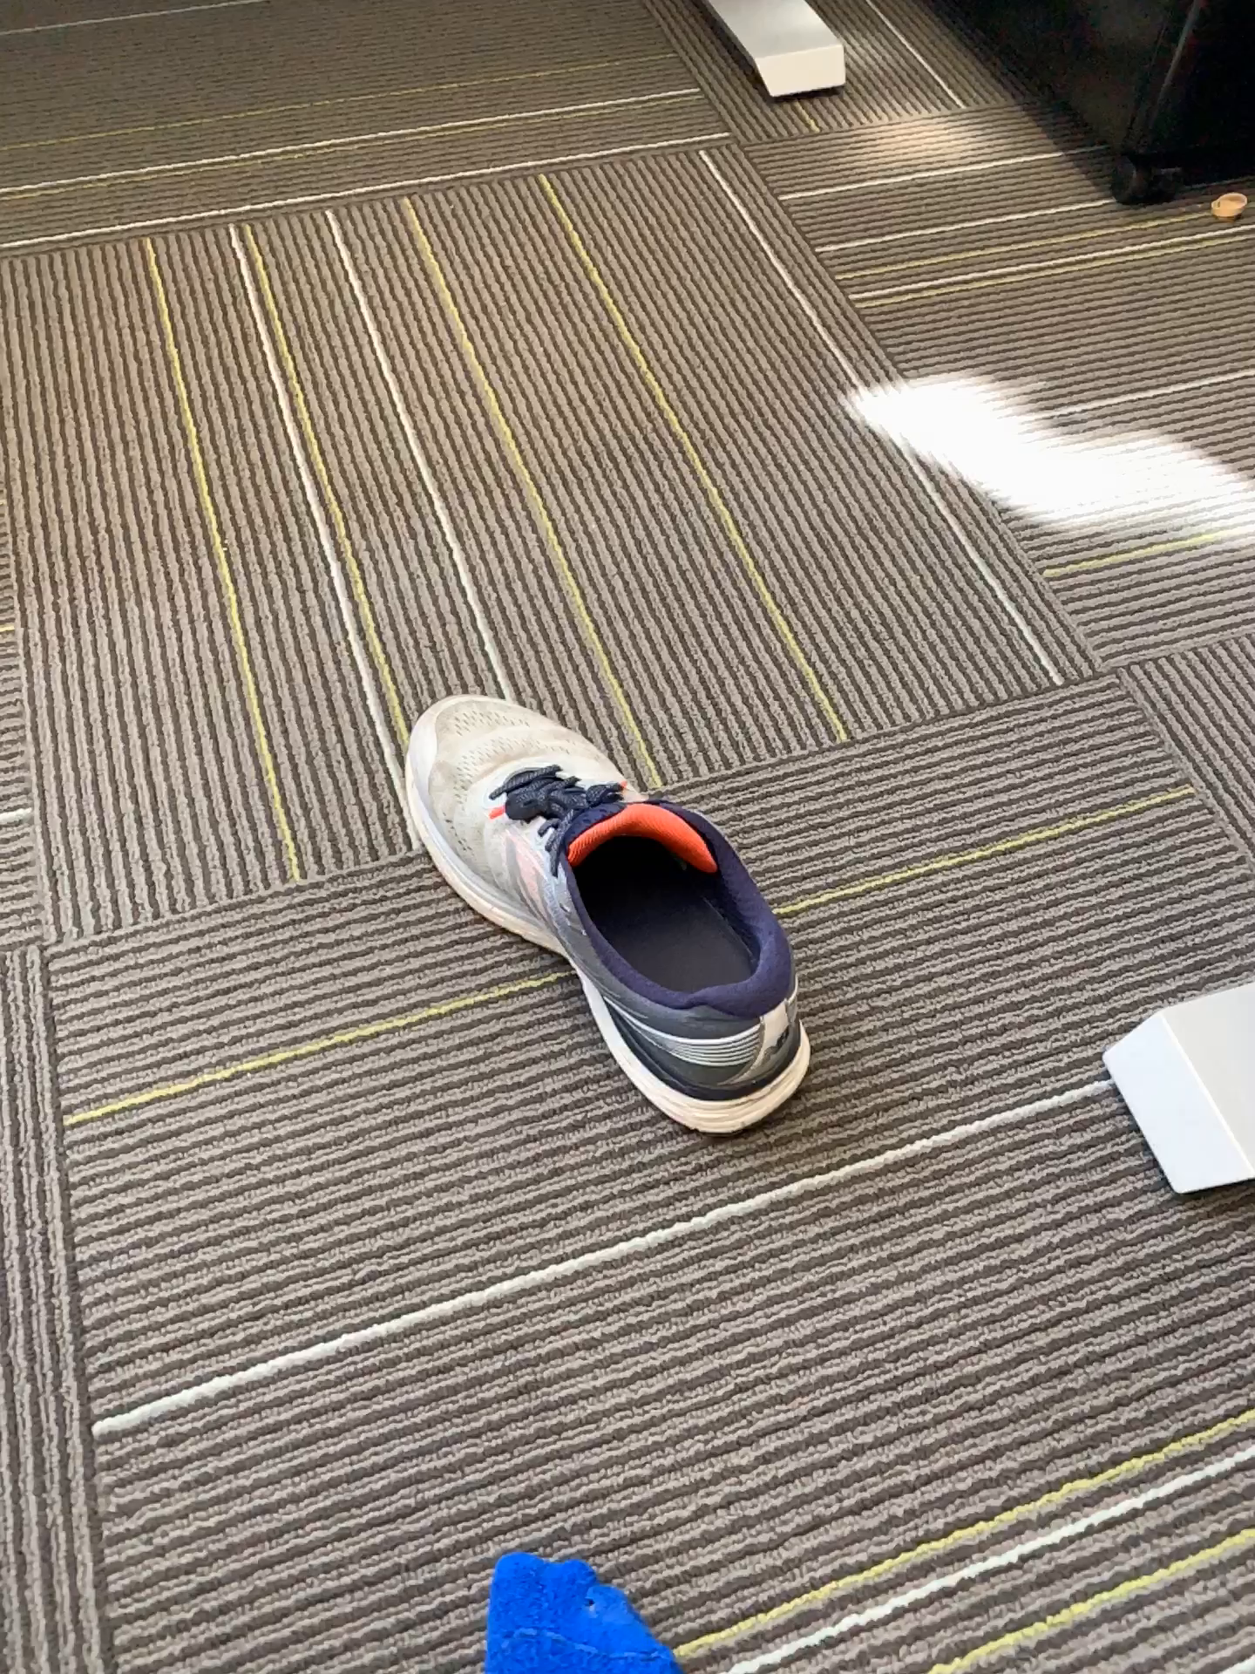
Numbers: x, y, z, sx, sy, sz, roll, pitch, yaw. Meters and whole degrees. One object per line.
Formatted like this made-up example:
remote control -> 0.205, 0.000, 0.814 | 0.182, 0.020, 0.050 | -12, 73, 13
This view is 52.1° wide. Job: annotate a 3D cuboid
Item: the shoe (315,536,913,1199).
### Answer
shoe -> -0.018, 0.005, 0.619 | 0.110, 0.110, 0.301 | -31, 63, -20
